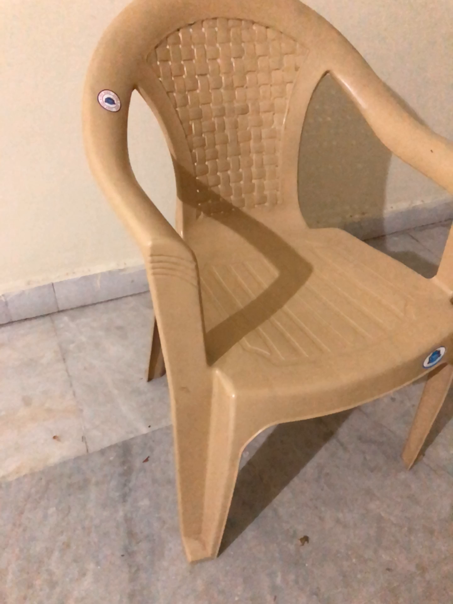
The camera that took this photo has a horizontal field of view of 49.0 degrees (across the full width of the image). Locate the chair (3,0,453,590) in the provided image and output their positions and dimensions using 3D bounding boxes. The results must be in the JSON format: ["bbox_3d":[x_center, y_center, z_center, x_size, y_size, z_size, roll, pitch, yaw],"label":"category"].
[{"bbox_3d":[0.060,-0.090,0.851,0.592,0.745,0.603,-16,44,-22],"label":"chair"}]
